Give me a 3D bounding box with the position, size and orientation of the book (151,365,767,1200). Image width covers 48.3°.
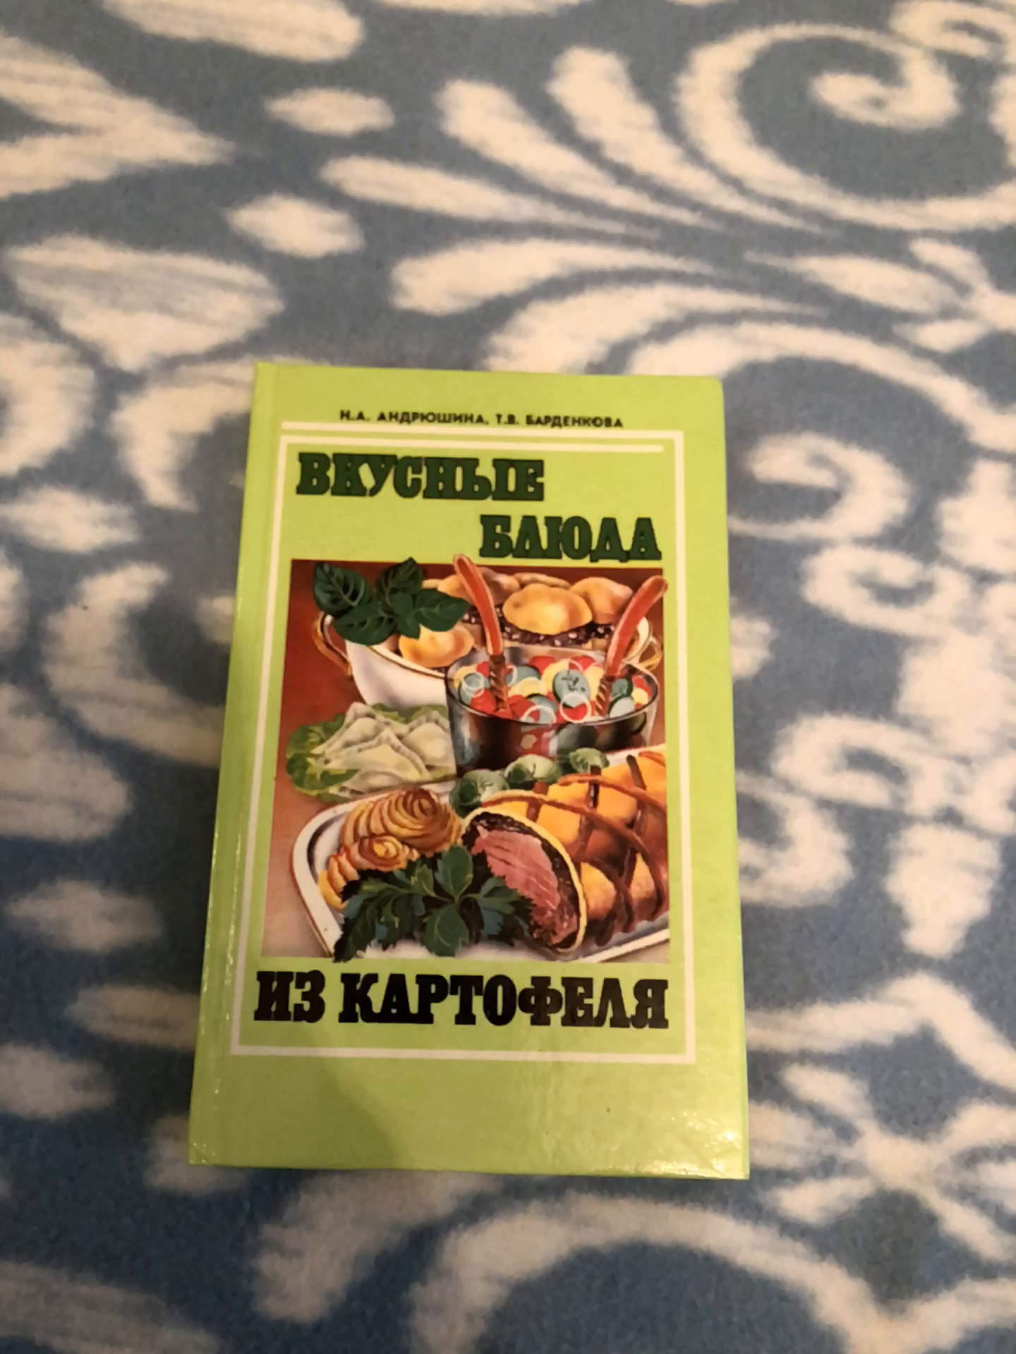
[{"bbox_3d":[-0.008,0.019,0.287,0.135,0.025,0.201,2,75,0],"label":"book"}]
